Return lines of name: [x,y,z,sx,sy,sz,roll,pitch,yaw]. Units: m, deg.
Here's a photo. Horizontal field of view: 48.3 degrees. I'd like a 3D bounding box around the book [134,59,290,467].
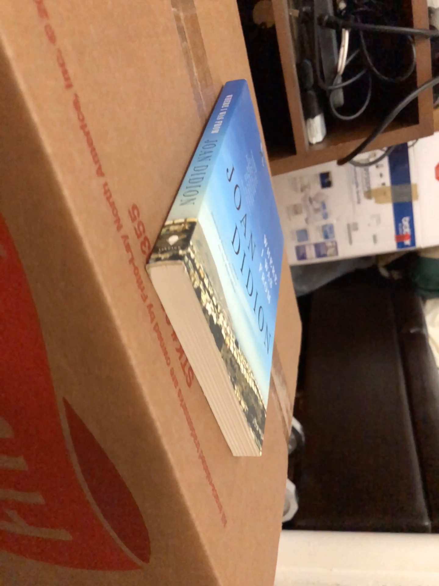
book: [0.014,-0.031,0.289,0.211,0.020,0.140,-78,154,-48]
